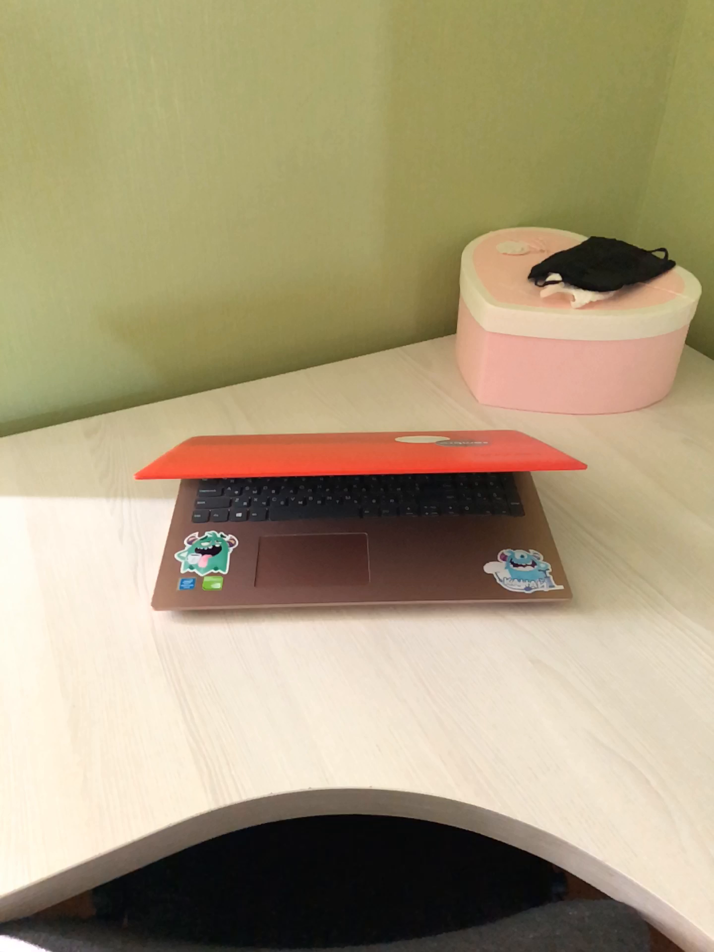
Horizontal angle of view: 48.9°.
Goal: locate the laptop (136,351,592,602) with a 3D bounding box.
[{"bbox_3d":[0.002,-0.009,0.754,0.366,0.112,0.233,-1,38,-1],"label":"laptop"}]
